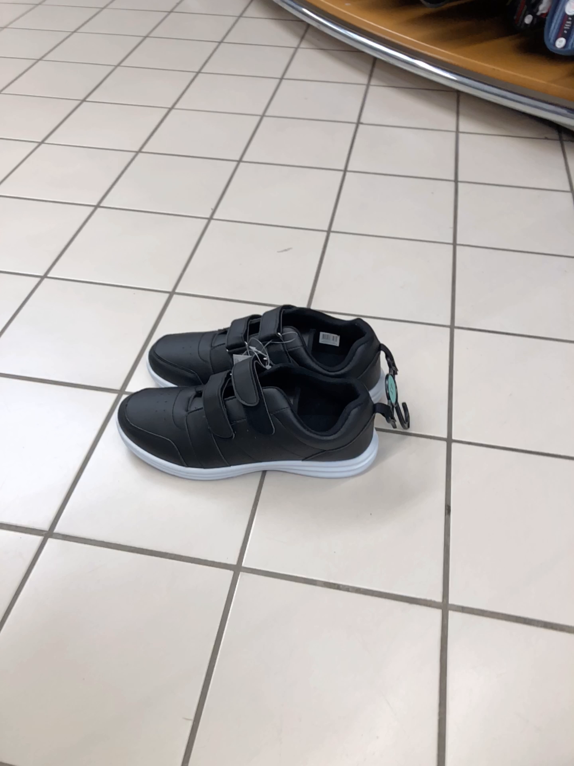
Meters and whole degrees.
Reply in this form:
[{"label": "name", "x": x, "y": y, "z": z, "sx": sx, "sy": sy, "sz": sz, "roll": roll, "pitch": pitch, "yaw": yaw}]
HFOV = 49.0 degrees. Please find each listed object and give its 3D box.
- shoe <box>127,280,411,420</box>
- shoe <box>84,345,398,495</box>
[{"label": "shoe", "x": -0.015, "y": -0.041, "z": 0.752, "sx": 0.310, "sy": 0.099, "sz": 0.101, "roll": 5, "pitch": 46, "yaw": 5}, {"label": "shoe", "x": -0.042, "y": 0.039, "z": 0.687, "sx": 0.310, "sy": 0.099, "sz": 0.101, "roll": 4, "pitch": 46, "yaw": 4}]
